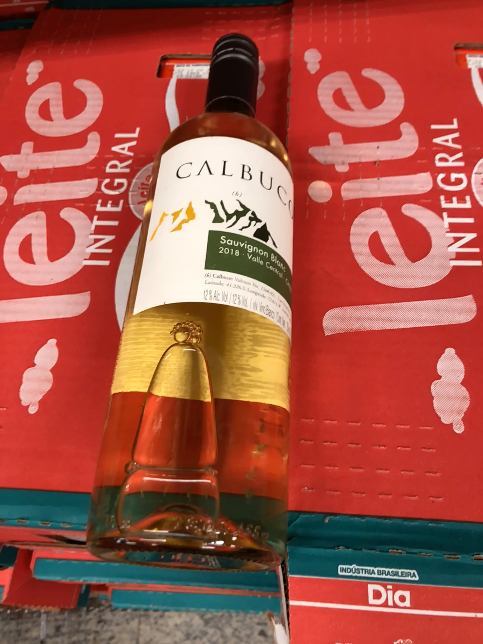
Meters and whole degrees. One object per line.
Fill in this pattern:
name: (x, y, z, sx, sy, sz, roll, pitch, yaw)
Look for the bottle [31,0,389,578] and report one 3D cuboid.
bottle: (-0.009, -0.043, 0.255, 0.090, 0.100, 0.291, 18, 60, -26)
